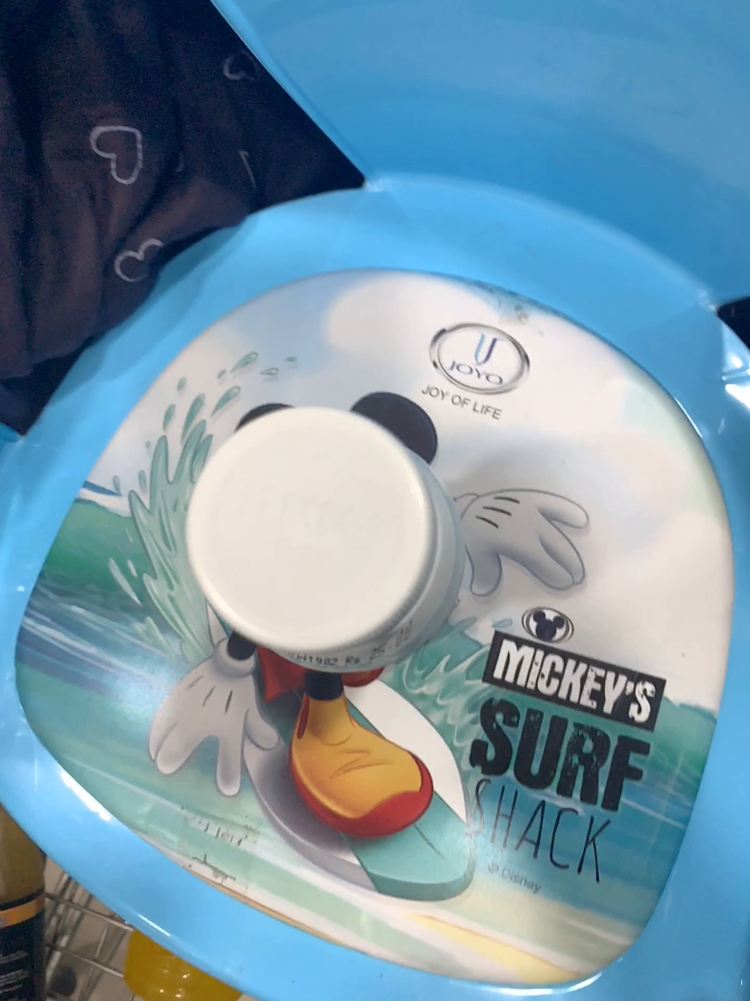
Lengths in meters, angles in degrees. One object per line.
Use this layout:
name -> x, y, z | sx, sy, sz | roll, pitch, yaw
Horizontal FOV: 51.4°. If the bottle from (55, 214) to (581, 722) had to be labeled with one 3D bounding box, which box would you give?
bottle -> -0.004, 0.006, 0.184 | 0.060, 0.130, 0.060 | -1, 77, 4
